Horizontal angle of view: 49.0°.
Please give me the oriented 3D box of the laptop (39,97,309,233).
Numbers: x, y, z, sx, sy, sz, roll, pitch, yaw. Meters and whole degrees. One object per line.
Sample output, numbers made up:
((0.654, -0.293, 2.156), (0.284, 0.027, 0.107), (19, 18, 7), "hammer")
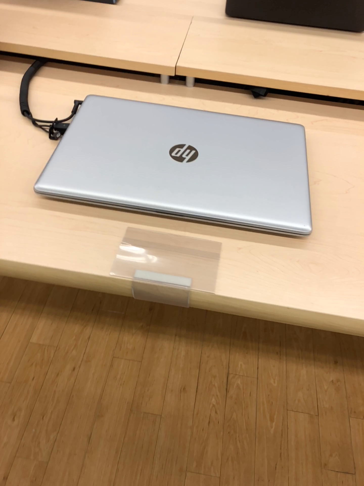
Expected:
((0.004, -0.144, 0.658), (0.397, 0.001, 0.258), (9, 51, 3), "laptop")
